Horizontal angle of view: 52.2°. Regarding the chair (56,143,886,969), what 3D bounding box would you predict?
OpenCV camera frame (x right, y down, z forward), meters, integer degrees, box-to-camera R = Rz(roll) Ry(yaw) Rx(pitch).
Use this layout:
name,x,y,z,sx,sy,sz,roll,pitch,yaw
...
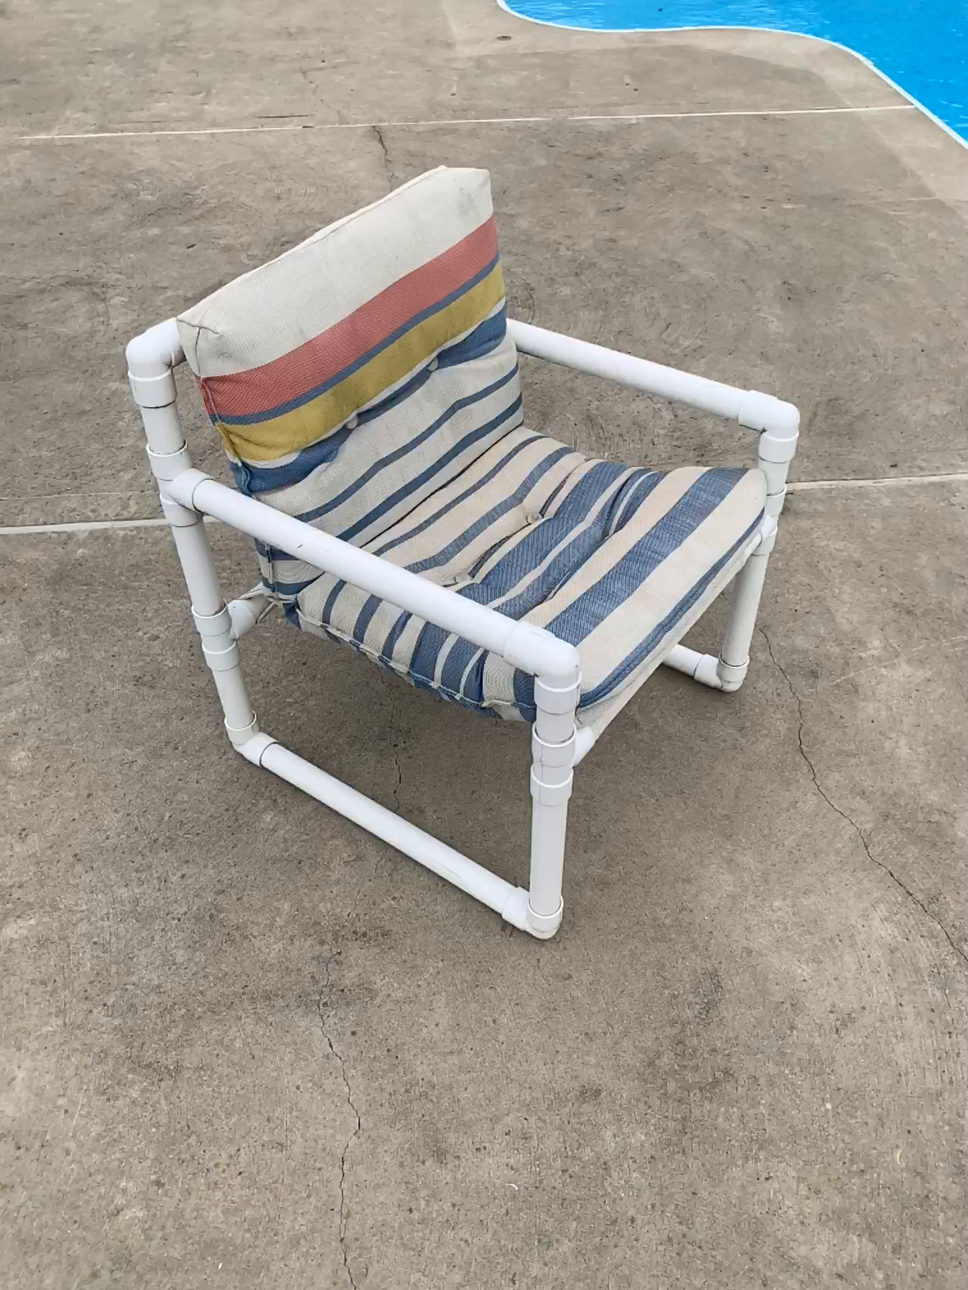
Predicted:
name,x,y,z,sx,sy,sz,roll,pitch,yaw
chair,0.003,-0.158,1.343,0.671,0.687,0.652,28,51,25
